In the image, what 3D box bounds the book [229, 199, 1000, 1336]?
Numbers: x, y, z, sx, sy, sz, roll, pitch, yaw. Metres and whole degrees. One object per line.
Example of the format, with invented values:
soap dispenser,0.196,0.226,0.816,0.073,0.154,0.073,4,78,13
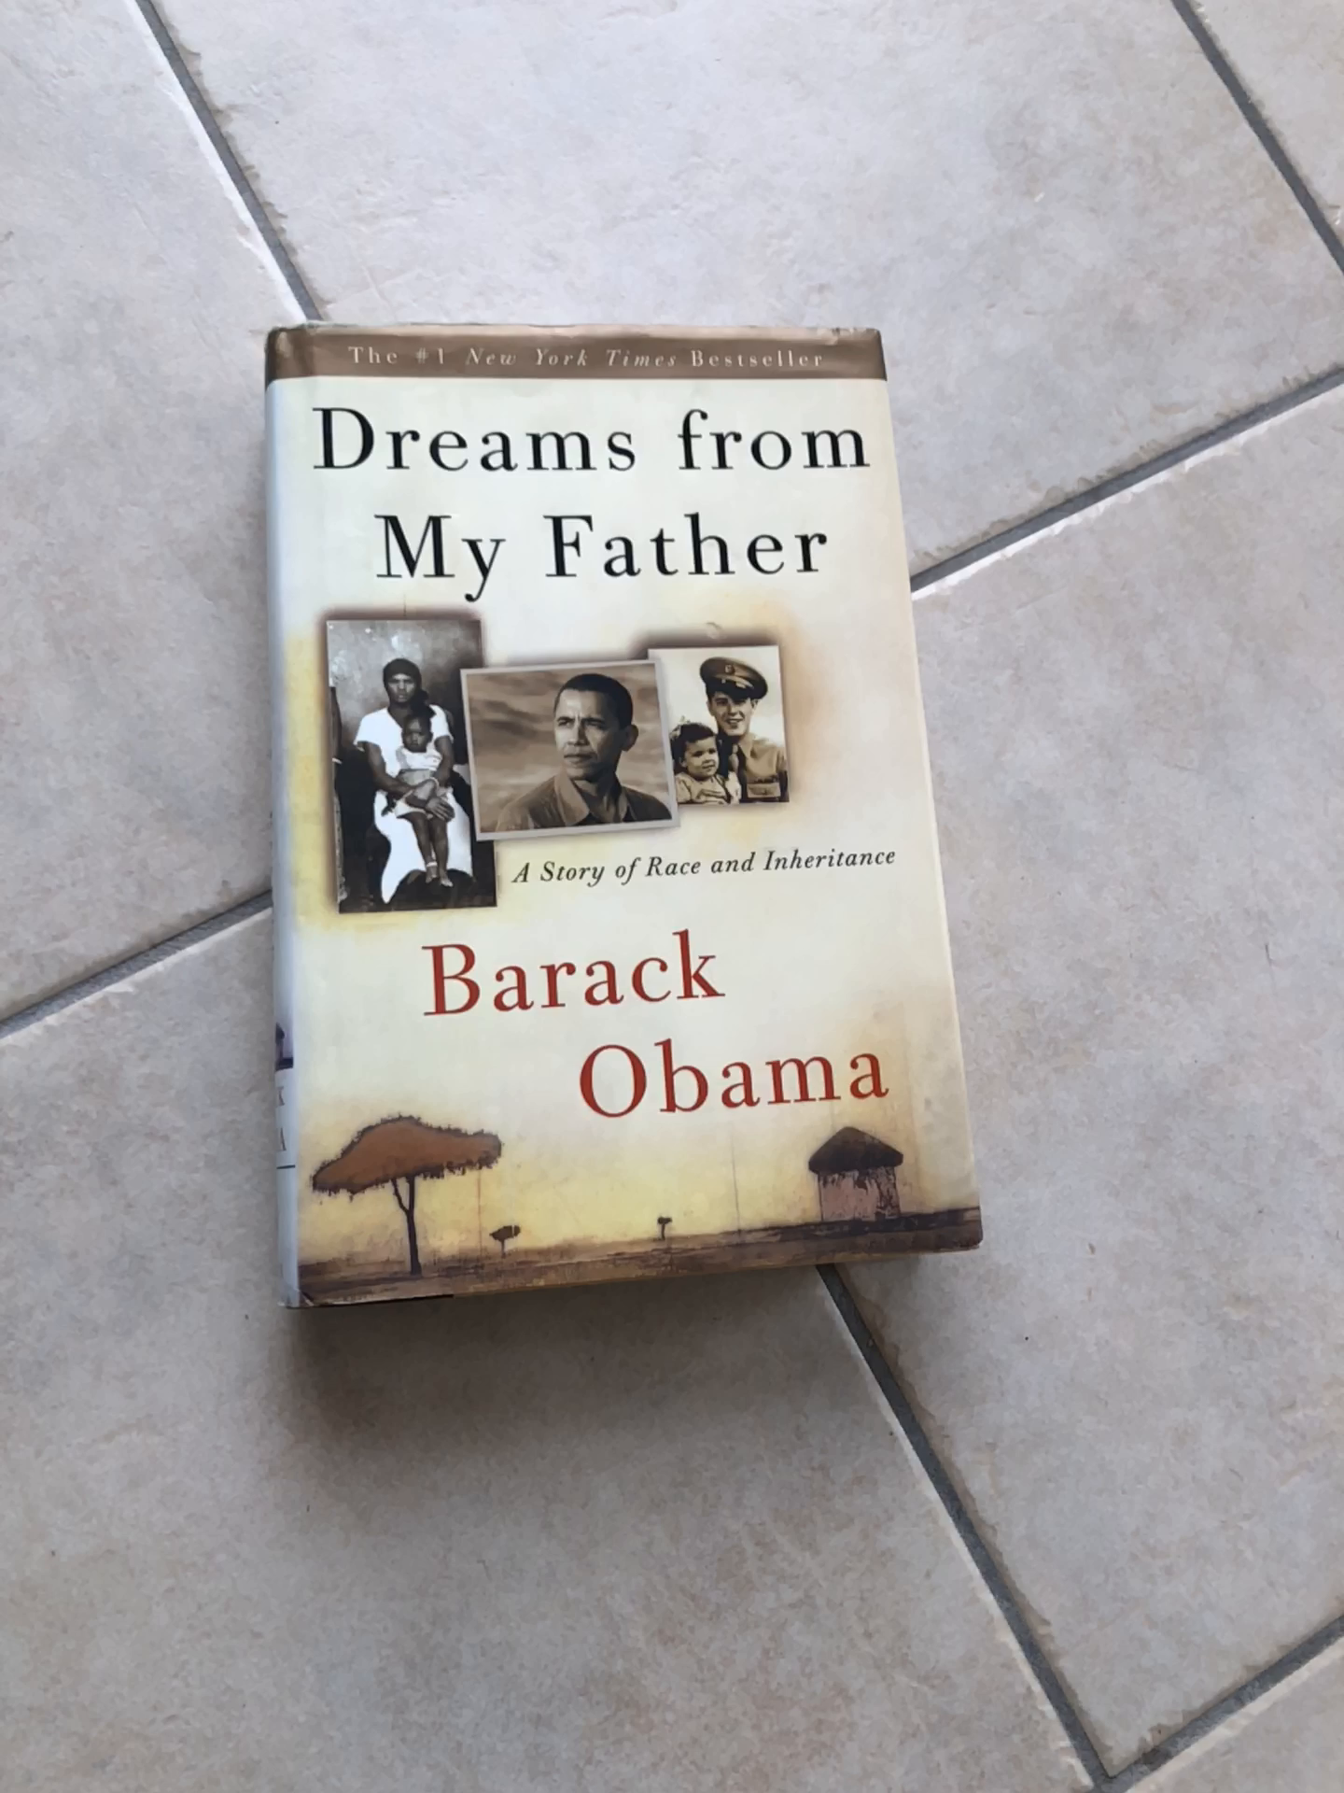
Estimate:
book,-0.020,-0.037,0.376,0.170,0.050,0.270,-2,79,-8
